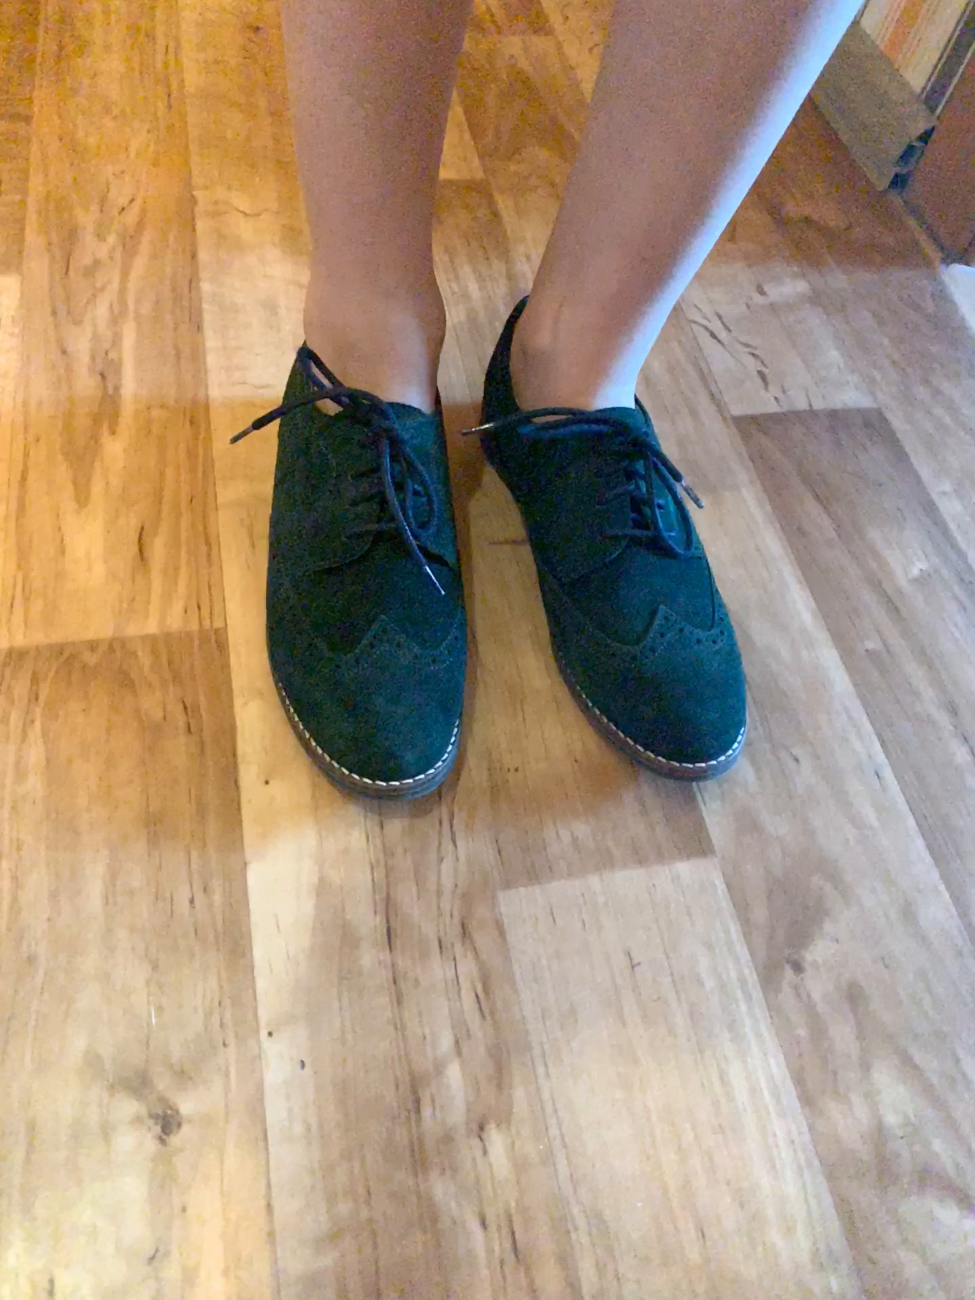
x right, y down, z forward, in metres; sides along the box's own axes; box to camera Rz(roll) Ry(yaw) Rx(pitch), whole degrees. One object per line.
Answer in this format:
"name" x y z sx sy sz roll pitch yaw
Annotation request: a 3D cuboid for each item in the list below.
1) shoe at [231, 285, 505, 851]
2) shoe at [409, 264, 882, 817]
"shoe" -0.064 -0.050 0.459 0.090 0.080 0.261 -4 57 -12
"shoe" 0.056 -0.063 0.469 0.100 0.080 0.250 -15 60 -19
